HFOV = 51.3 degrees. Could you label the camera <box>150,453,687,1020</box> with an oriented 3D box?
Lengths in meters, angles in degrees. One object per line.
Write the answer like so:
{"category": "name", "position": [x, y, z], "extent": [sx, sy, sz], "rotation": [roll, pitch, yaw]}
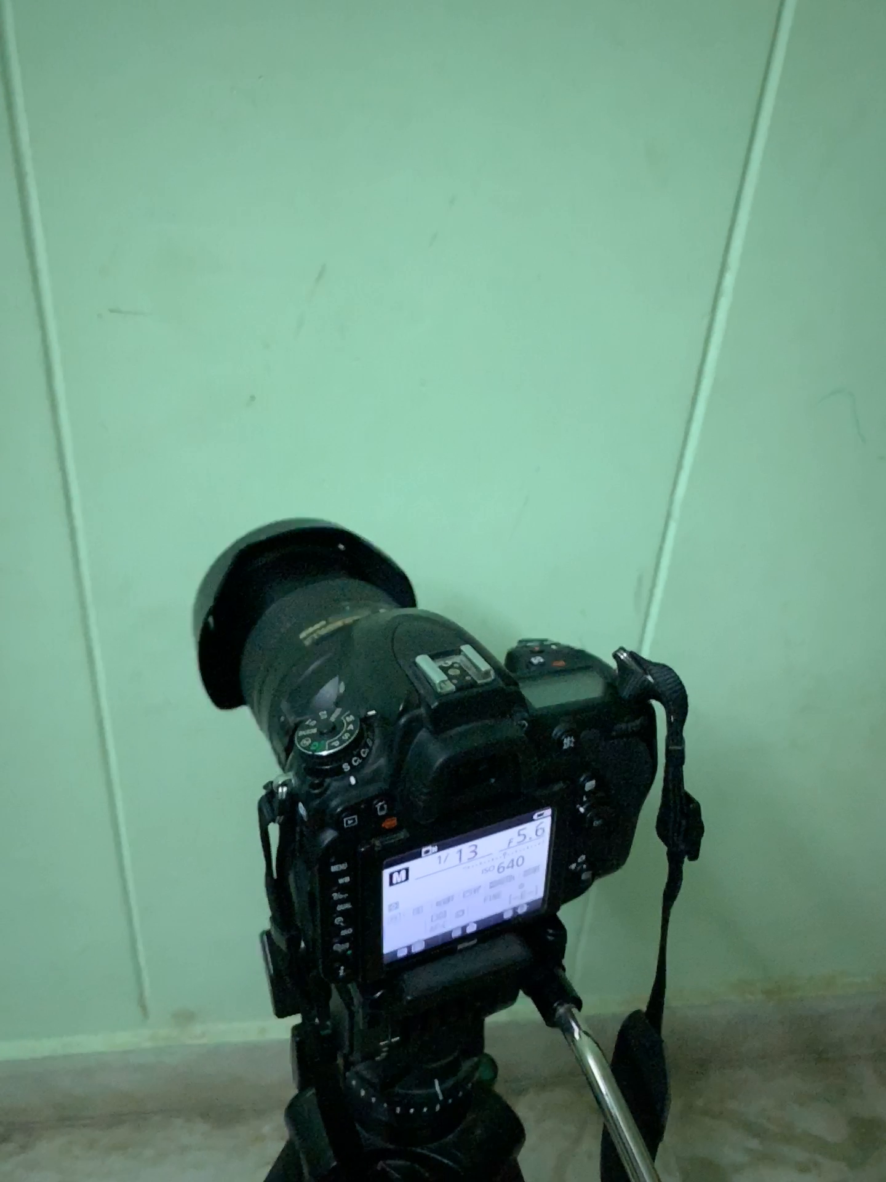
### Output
{"category": "camera", "position": [-0.024, 0.039, 0.382], "extent": [0.140, 0.117, 0.182], "rotation": [-12, 34, -26]}
